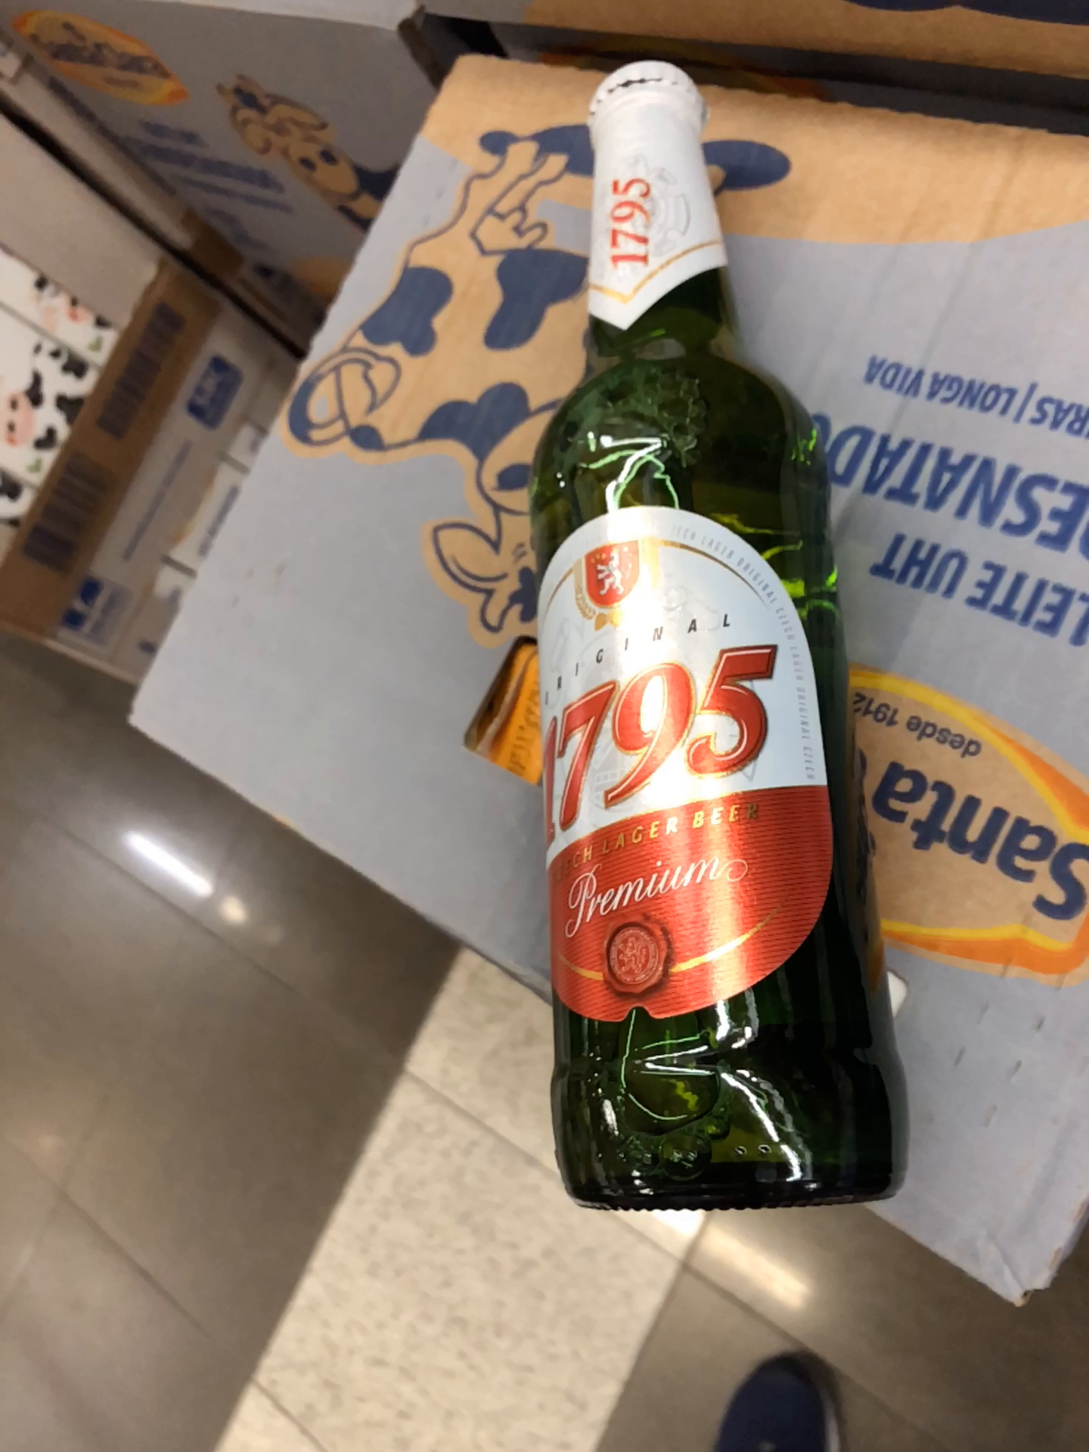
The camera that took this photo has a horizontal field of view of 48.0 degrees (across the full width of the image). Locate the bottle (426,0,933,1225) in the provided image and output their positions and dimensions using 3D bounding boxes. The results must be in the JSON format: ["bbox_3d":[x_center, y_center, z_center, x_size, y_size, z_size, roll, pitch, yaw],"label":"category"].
[{"bbox_3d":[0.022,-0.043,0.257,0.070,0.060,0.271,-11,68,25],"label":"bottle"}]
